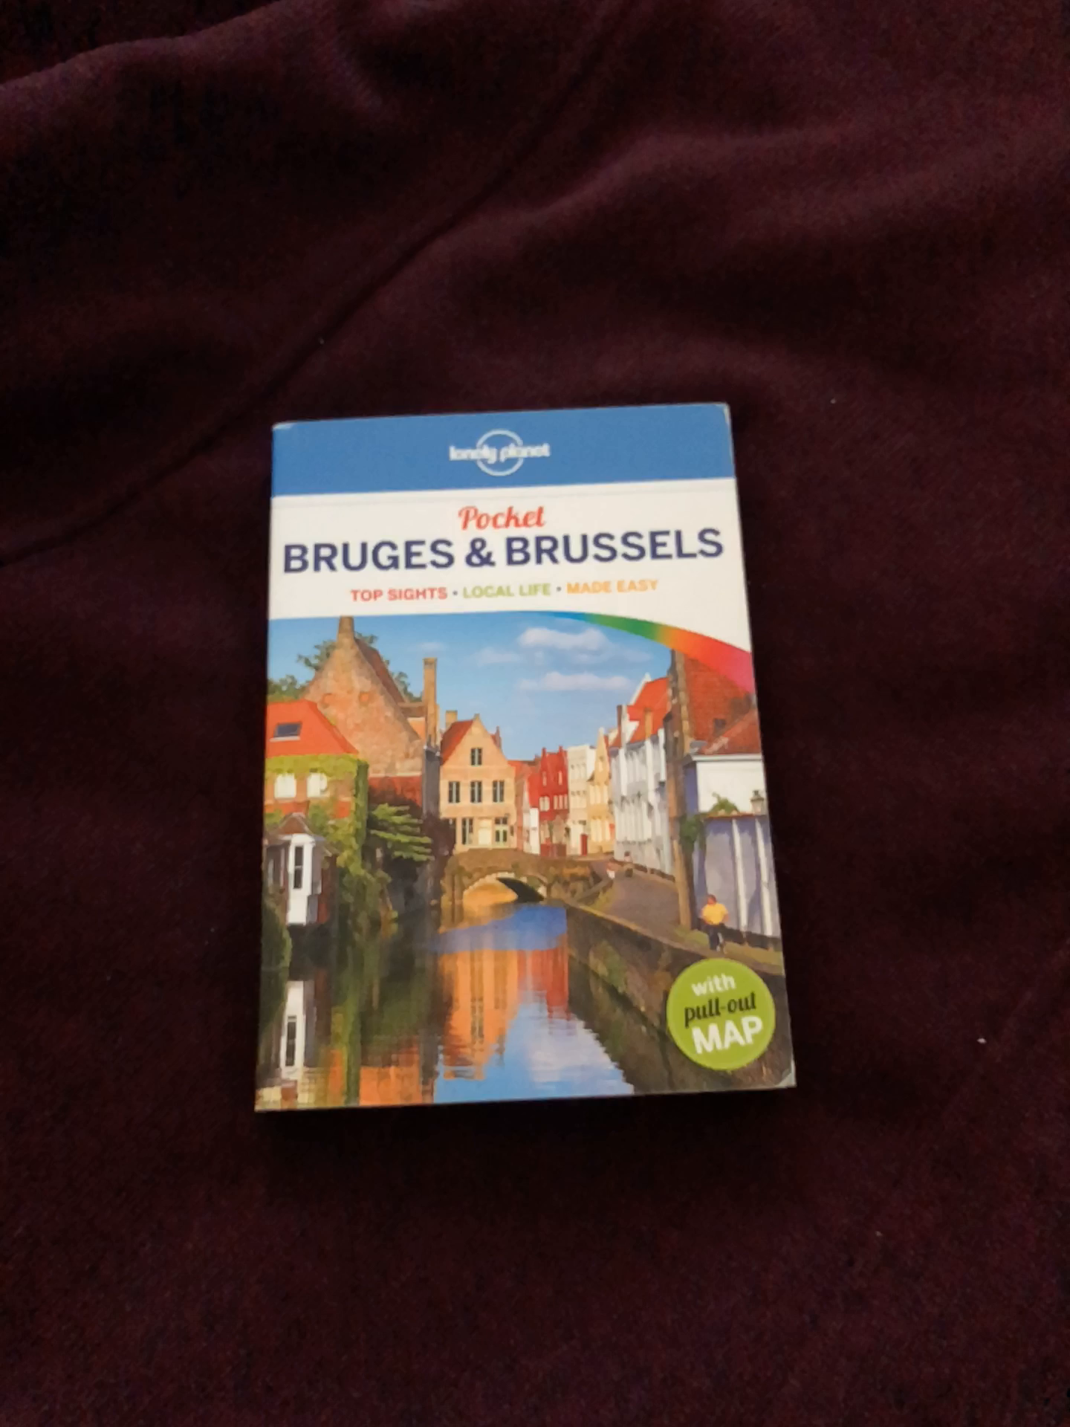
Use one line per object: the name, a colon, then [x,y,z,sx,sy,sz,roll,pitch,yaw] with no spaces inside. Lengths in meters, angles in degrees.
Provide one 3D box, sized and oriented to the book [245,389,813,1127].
book: [-0.005,0.005,0.266,0.110,0.016,0.158,-3,72,0]
